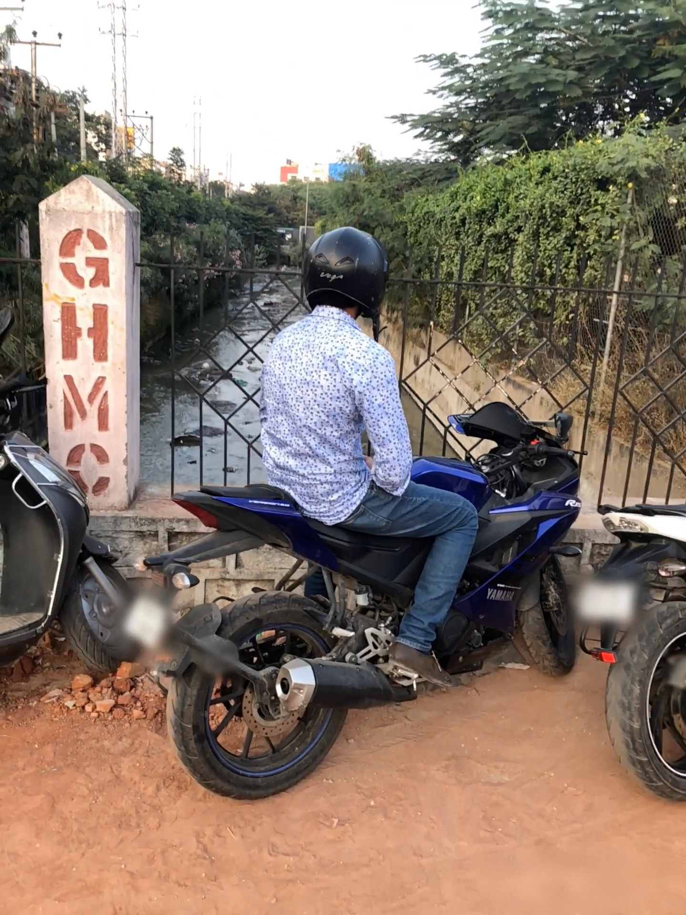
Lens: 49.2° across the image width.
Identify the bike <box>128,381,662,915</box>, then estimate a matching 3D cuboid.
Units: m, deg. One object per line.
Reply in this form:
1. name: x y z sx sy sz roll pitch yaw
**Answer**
1. bike: 0.292 0.411 2.658 0.732 0.996 1.949 18 23 42
